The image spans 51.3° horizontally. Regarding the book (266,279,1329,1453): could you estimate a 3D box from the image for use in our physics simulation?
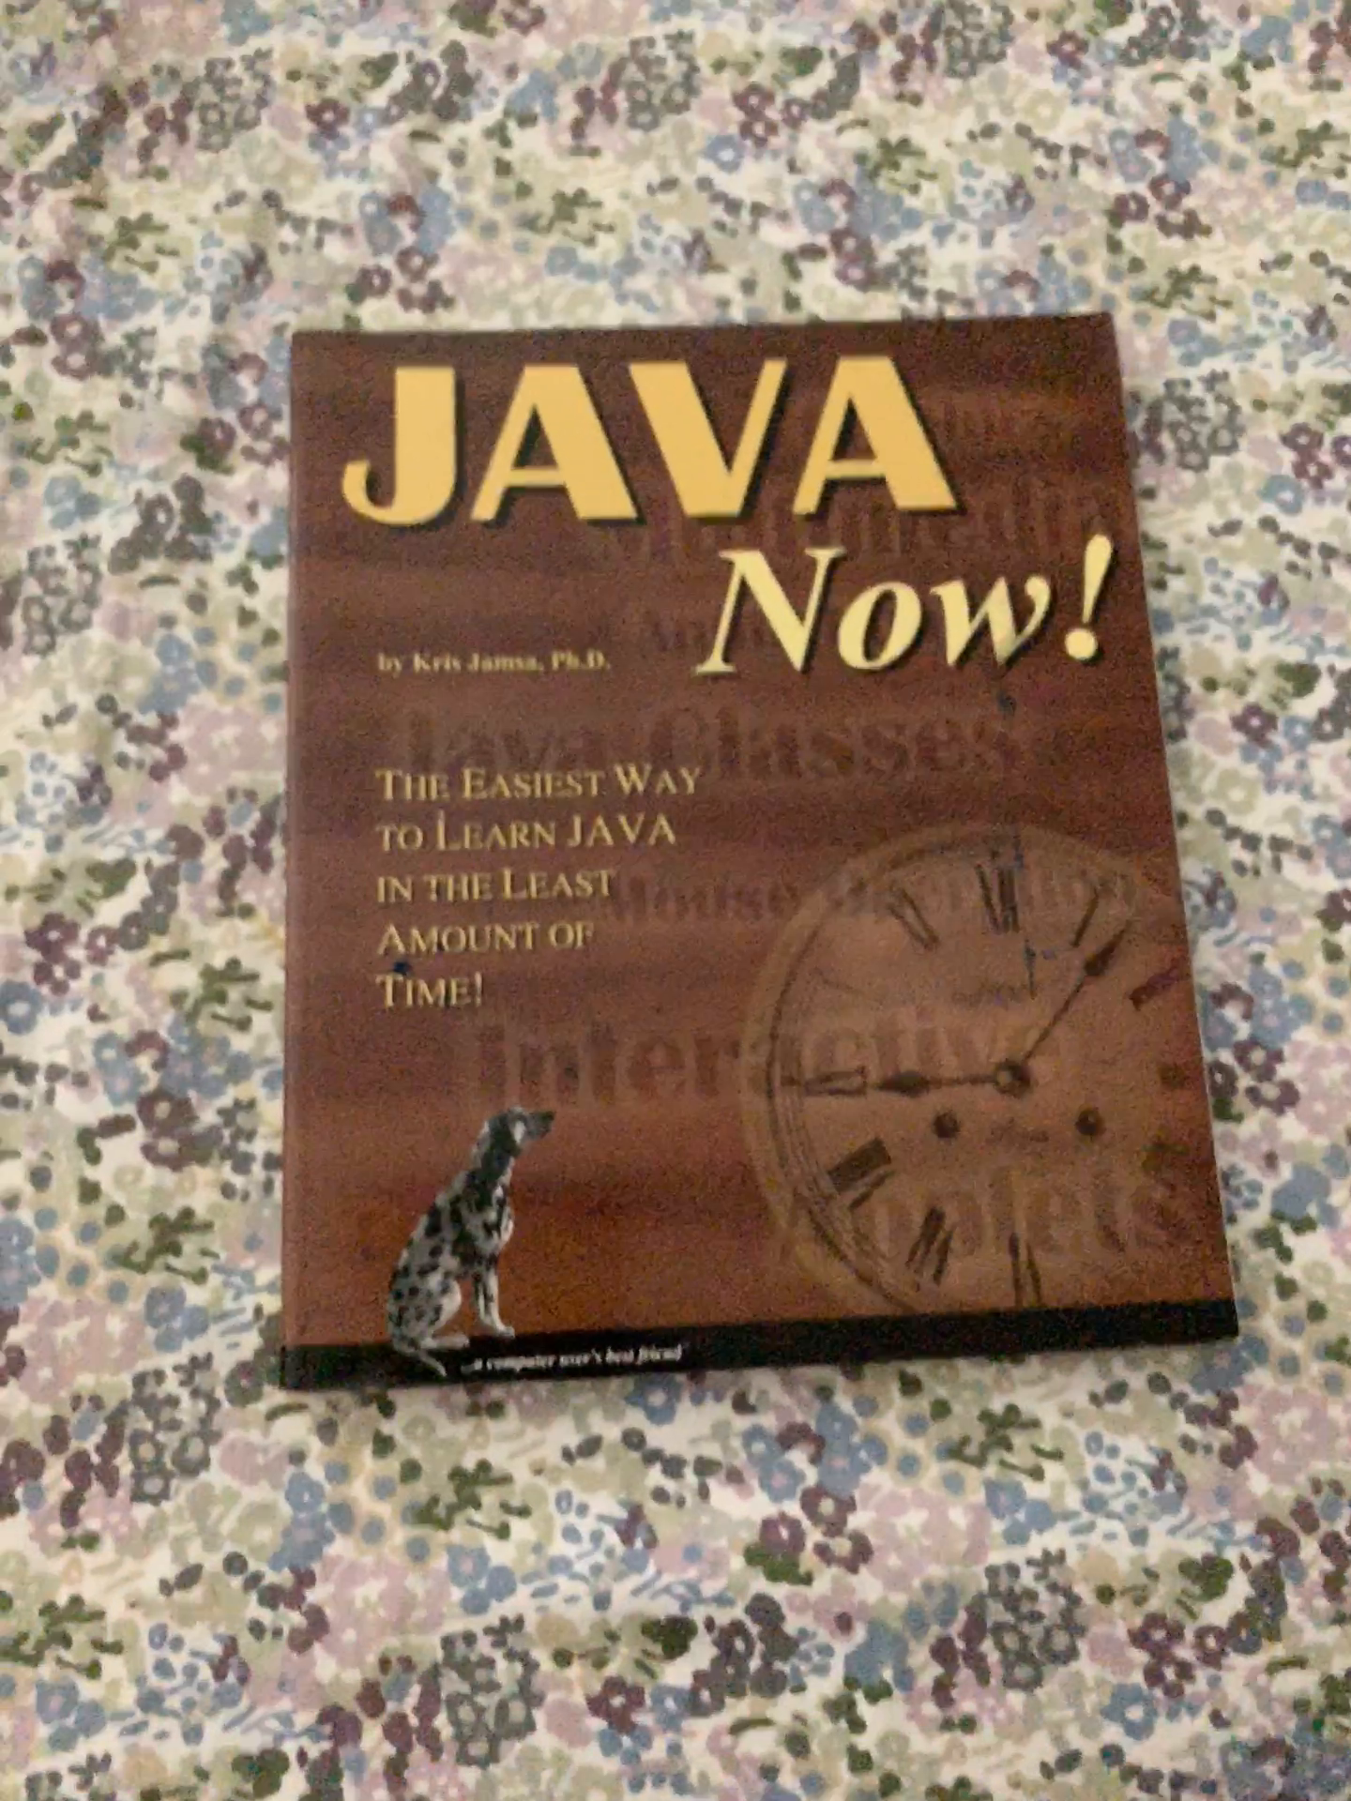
[{"bbox_3d":[0.021,-0.018,0.328,0.220,0.030,0.260,-2,79,-4],"label":"book"}]
